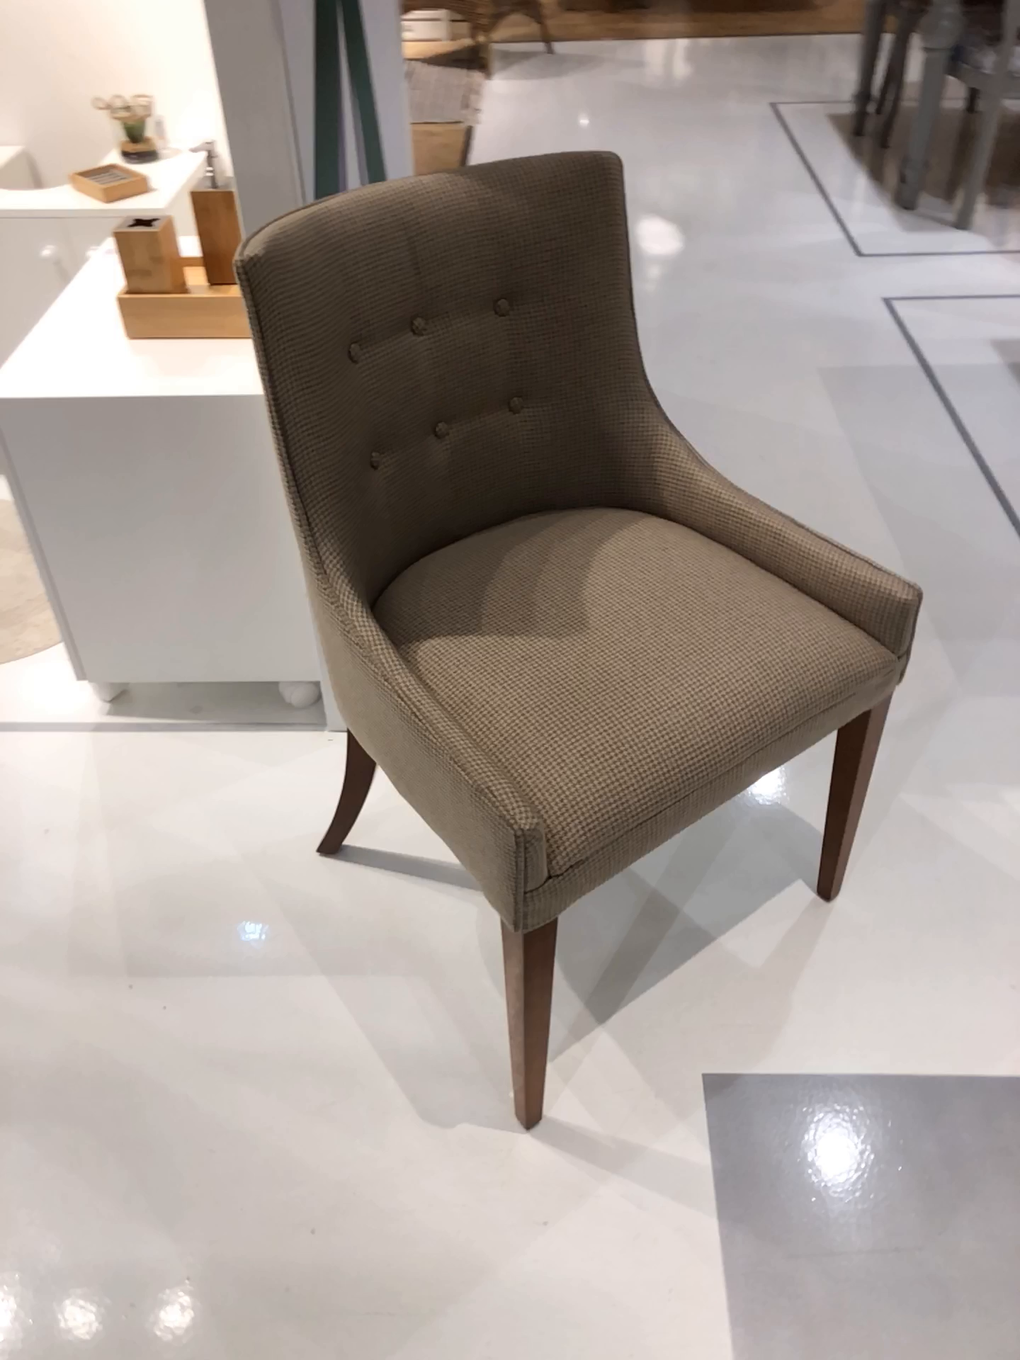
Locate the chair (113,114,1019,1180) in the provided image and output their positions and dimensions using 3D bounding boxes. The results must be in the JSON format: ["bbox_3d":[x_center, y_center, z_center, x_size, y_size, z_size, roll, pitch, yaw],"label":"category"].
[{"bbox_3d":[0.066,-0.063,1.201,0.592,0.794,0.593,-26,46,-25],"label":"chair"}]
